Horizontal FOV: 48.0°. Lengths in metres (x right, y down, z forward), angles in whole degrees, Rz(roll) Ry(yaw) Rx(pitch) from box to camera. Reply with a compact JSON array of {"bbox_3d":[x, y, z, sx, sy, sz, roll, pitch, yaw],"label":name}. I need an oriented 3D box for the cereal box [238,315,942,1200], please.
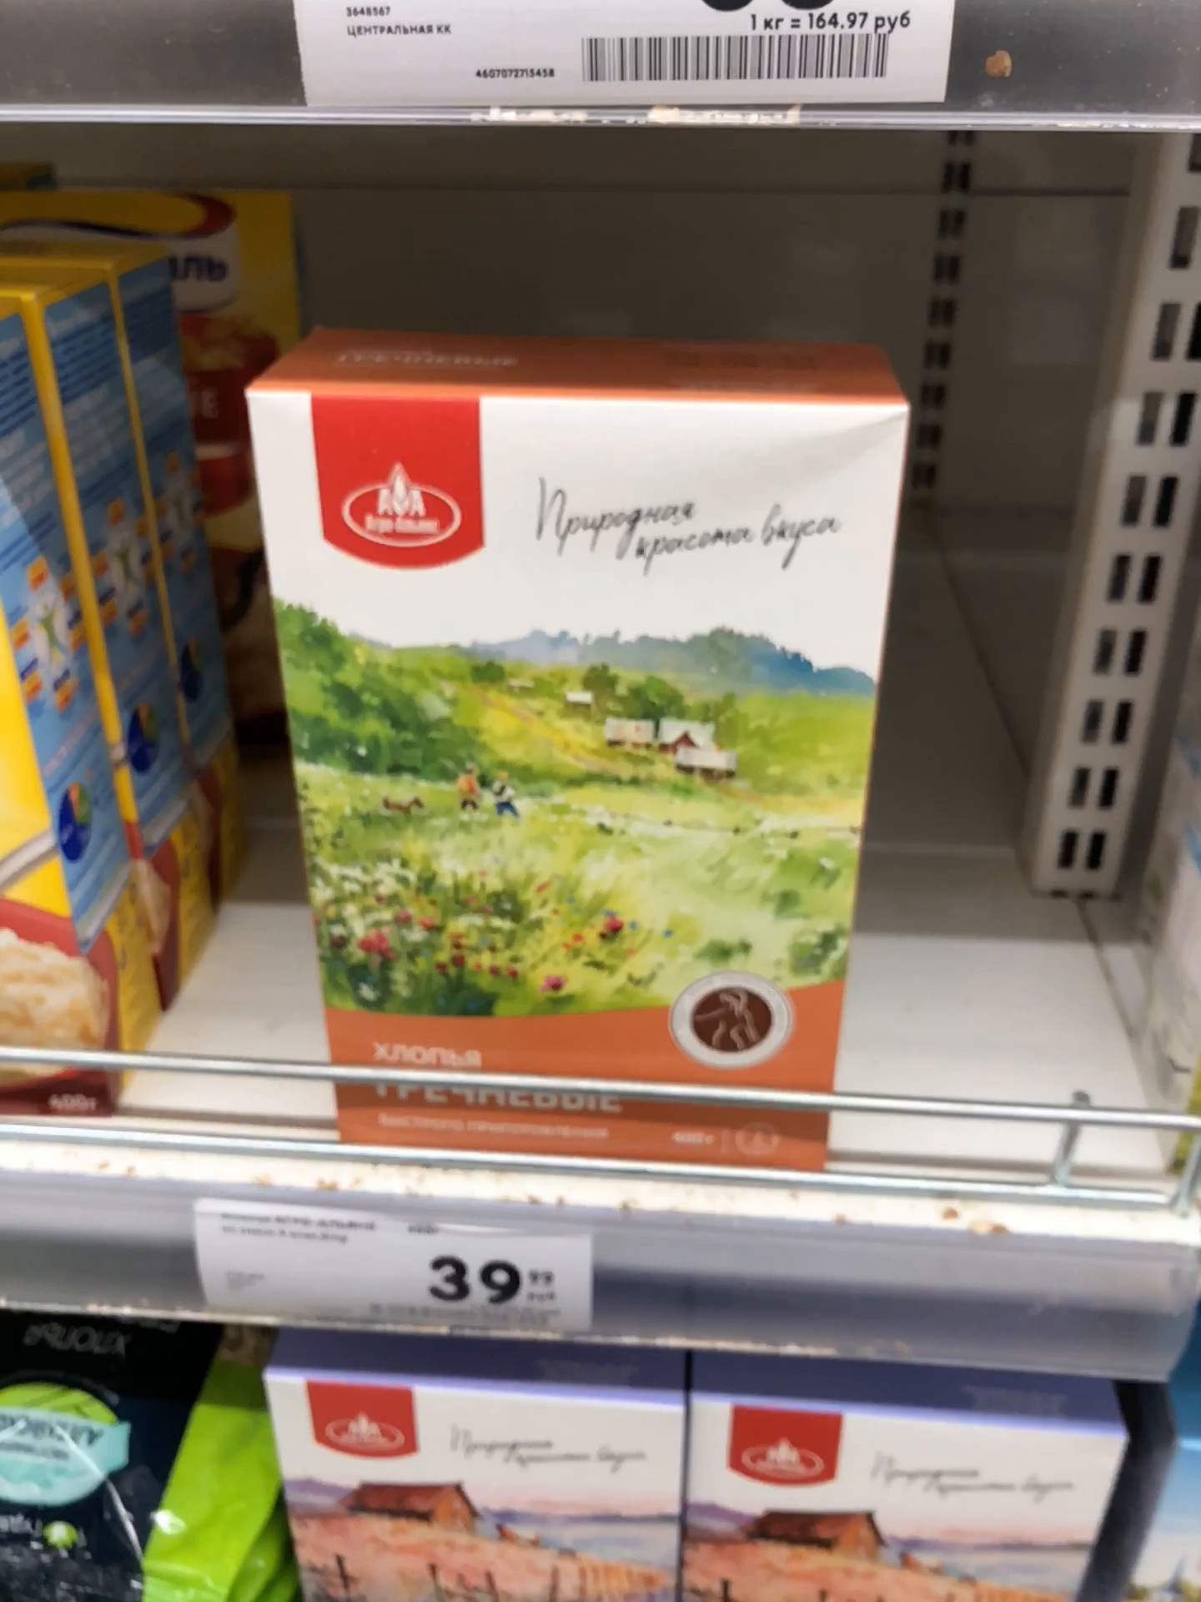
[{"bbox_3d":[-0.002,-0.005,0.322,0.130,0.199,0.060,3,28,3],"label":"cereal box"}]
